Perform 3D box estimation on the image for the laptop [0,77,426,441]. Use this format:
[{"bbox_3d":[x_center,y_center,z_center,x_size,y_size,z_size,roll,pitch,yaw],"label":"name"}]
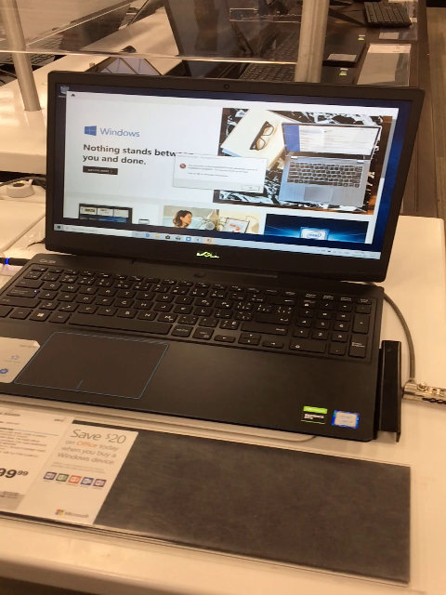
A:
[{"bbox_3d":[-0.042,-0.072,0.586,0.421,0.198,0.355,7,38,11],"label":"laptop"}]
